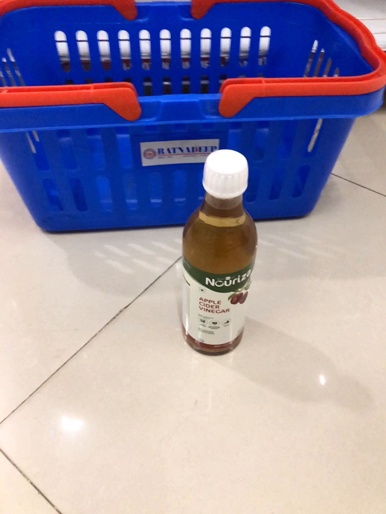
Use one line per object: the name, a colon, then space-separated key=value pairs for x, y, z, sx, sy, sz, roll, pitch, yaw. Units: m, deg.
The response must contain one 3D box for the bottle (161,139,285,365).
bottle: x=0.019 y=0.009 z=0.396 sx=0.080 sy=0.219 sz=0.070 roll=-6 pitch=47 yaw=-6
